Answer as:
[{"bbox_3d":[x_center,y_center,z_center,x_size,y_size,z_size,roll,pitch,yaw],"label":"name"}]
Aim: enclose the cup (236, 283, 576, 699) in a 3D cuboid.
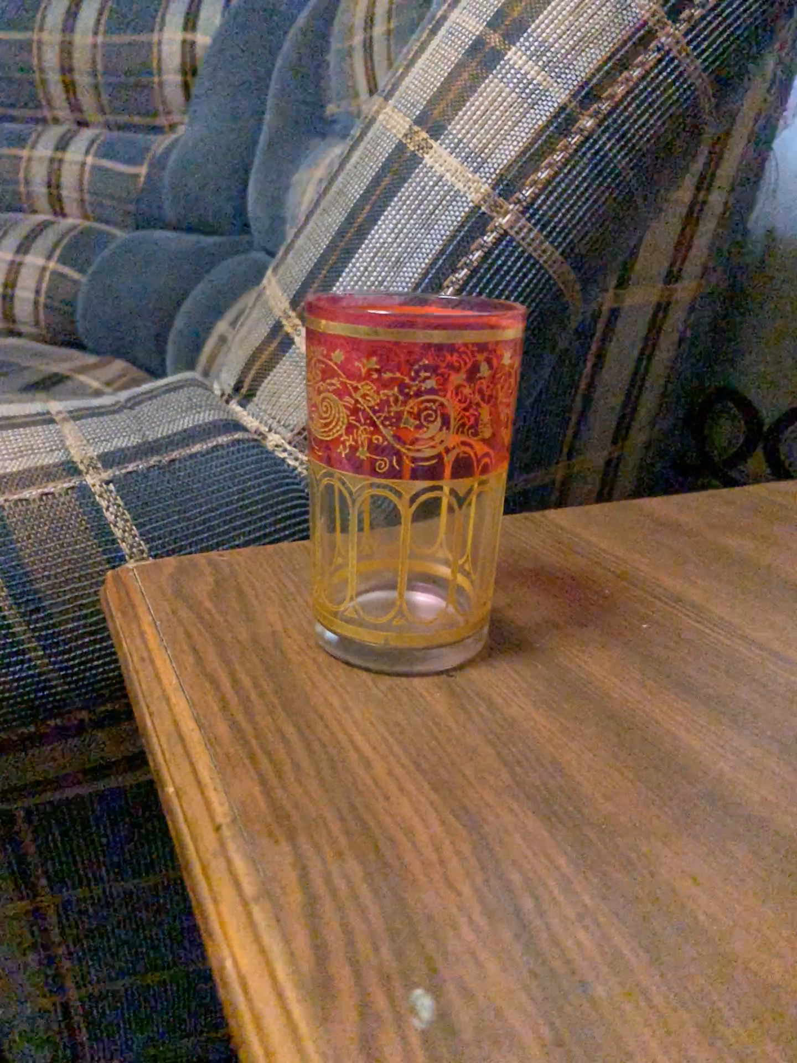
[{"bbox_3d":[-0.003,-0.018,0.244,0.069,0.099,0.067,4,19,-1],"label":"cup"}]
